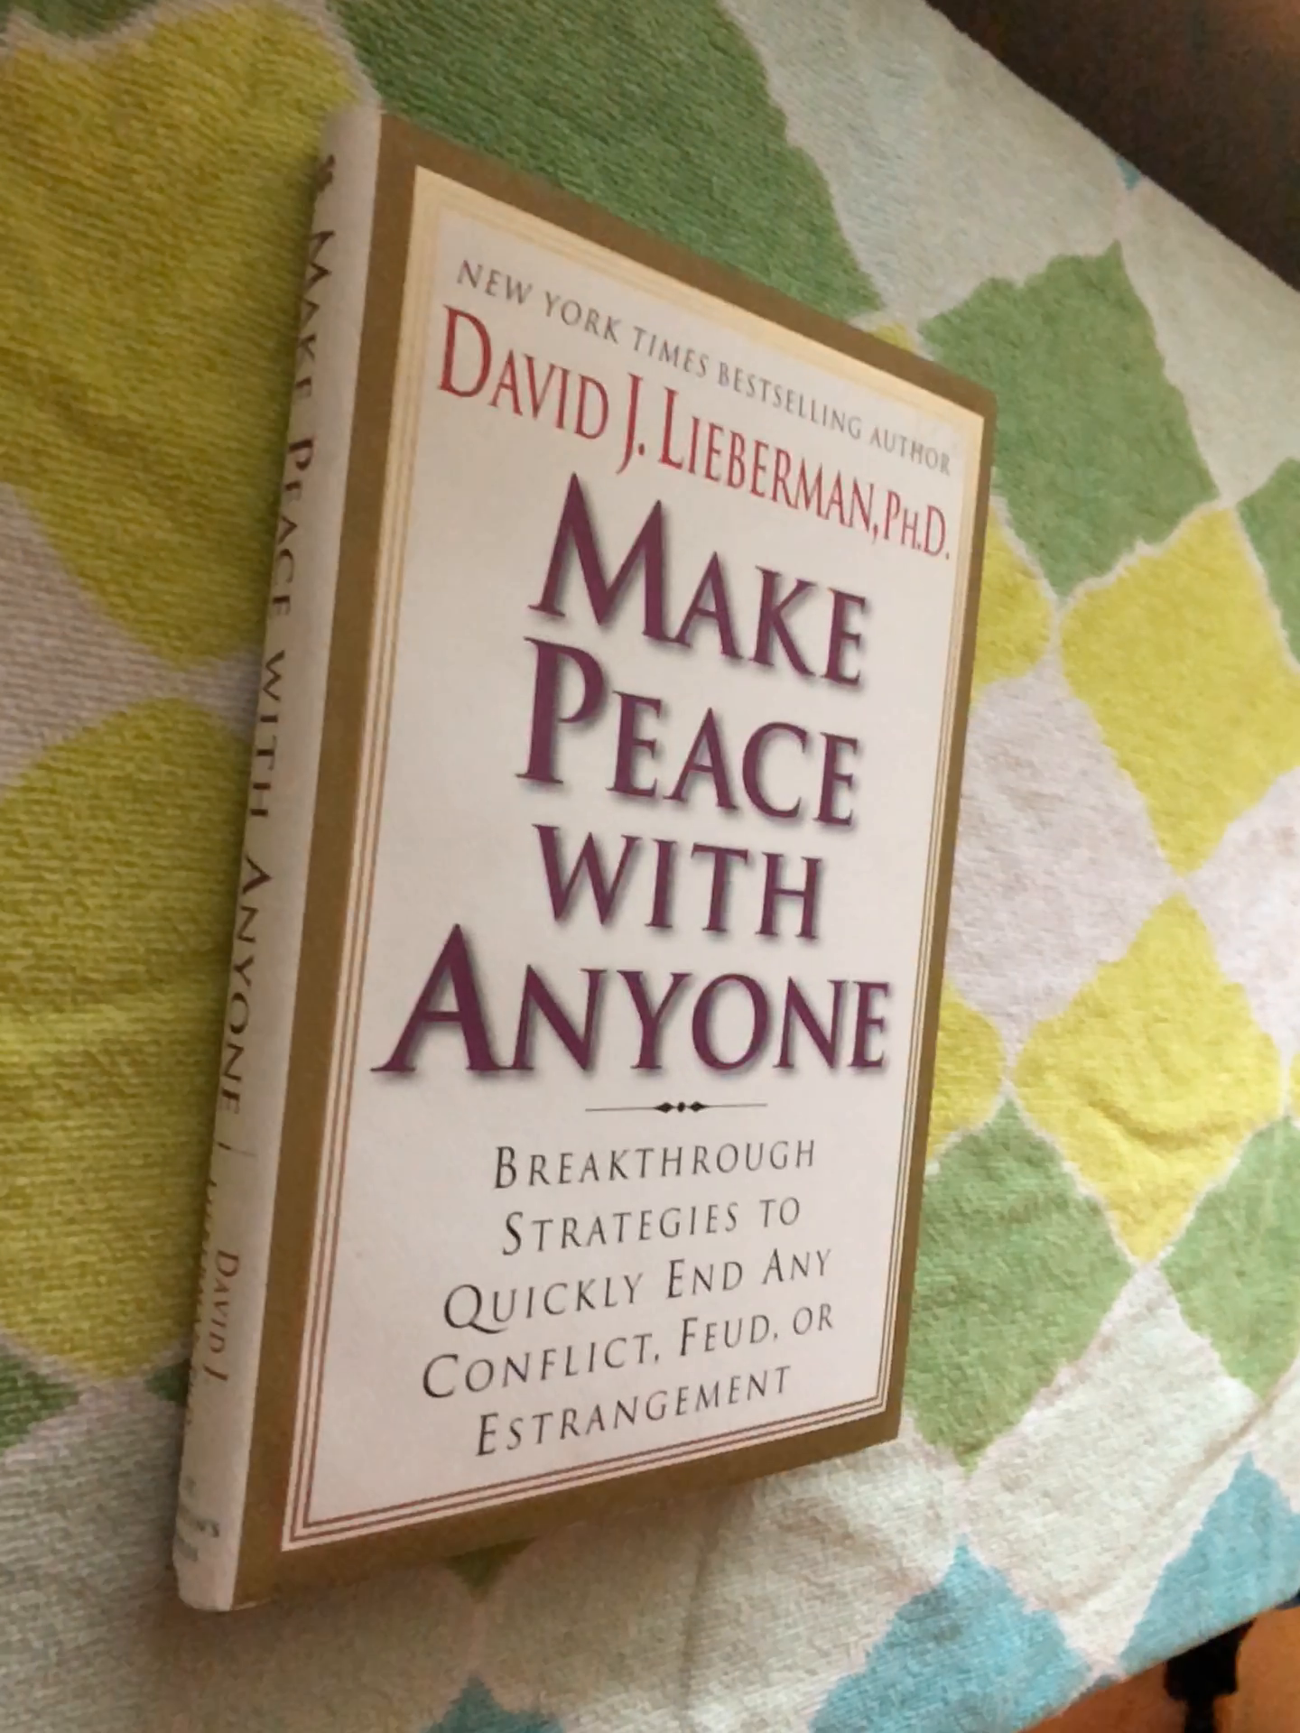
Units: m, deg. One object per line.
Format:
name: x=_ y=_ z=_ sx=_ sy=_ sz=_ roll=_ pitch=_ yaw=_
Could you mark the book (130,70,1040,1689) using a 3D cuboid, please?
book: x=0.001 y=0.005 z=0.239 sx=0.146 sy=0.030 sz=0.204 roll=6 pitch=88 yaw=-39
